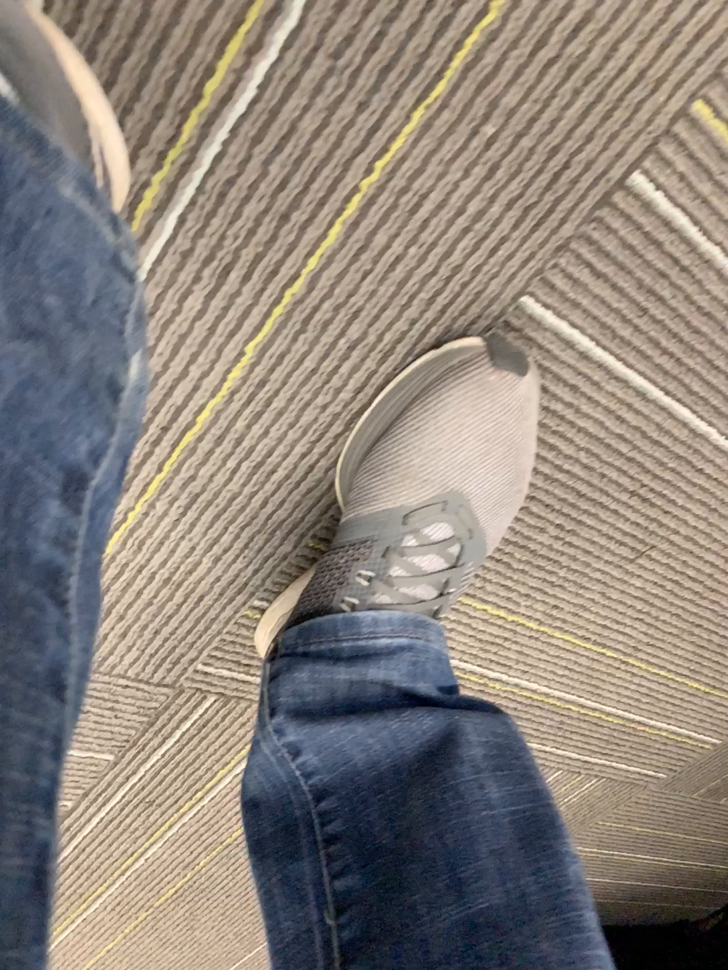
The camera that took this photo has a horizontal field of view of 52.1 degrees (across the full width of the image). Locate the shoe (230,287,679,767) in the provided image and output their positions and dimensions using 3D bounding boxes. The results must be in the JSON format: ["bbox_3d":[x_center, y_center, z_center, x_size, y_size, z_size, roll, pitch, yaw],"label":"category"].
[{"bbox_3d":[0.028,0.051,0.457,0.128,0.092,0.301,11,128,-25],"label":"shoe"}]

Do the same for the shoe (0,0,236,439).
[{"bbox_3d":[-0.170,-0.173,0.181,0.131,0.092,0.315,-24,133,7],"label":"shoe"}]
